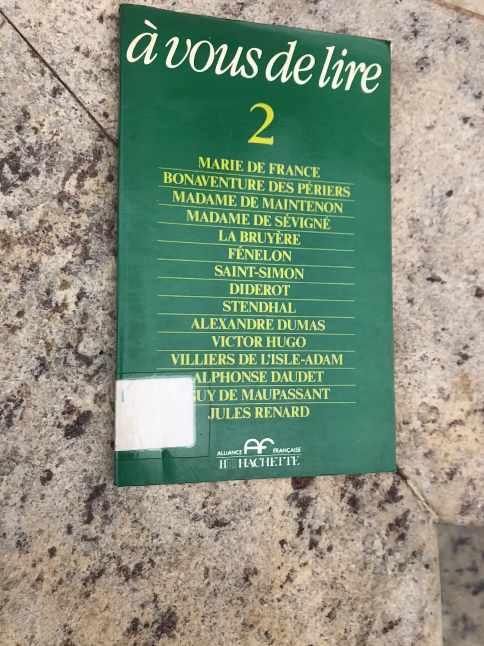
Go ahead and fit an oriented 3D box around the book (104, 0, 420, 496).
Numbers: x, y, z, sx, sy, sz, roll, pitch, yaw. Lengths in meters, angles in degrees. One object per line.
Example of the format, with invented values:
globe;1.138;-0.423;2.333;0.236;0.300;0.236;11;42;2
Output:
book;0.011;-0.033;0.249;0.140;0.017;0.210;1;86;-12
